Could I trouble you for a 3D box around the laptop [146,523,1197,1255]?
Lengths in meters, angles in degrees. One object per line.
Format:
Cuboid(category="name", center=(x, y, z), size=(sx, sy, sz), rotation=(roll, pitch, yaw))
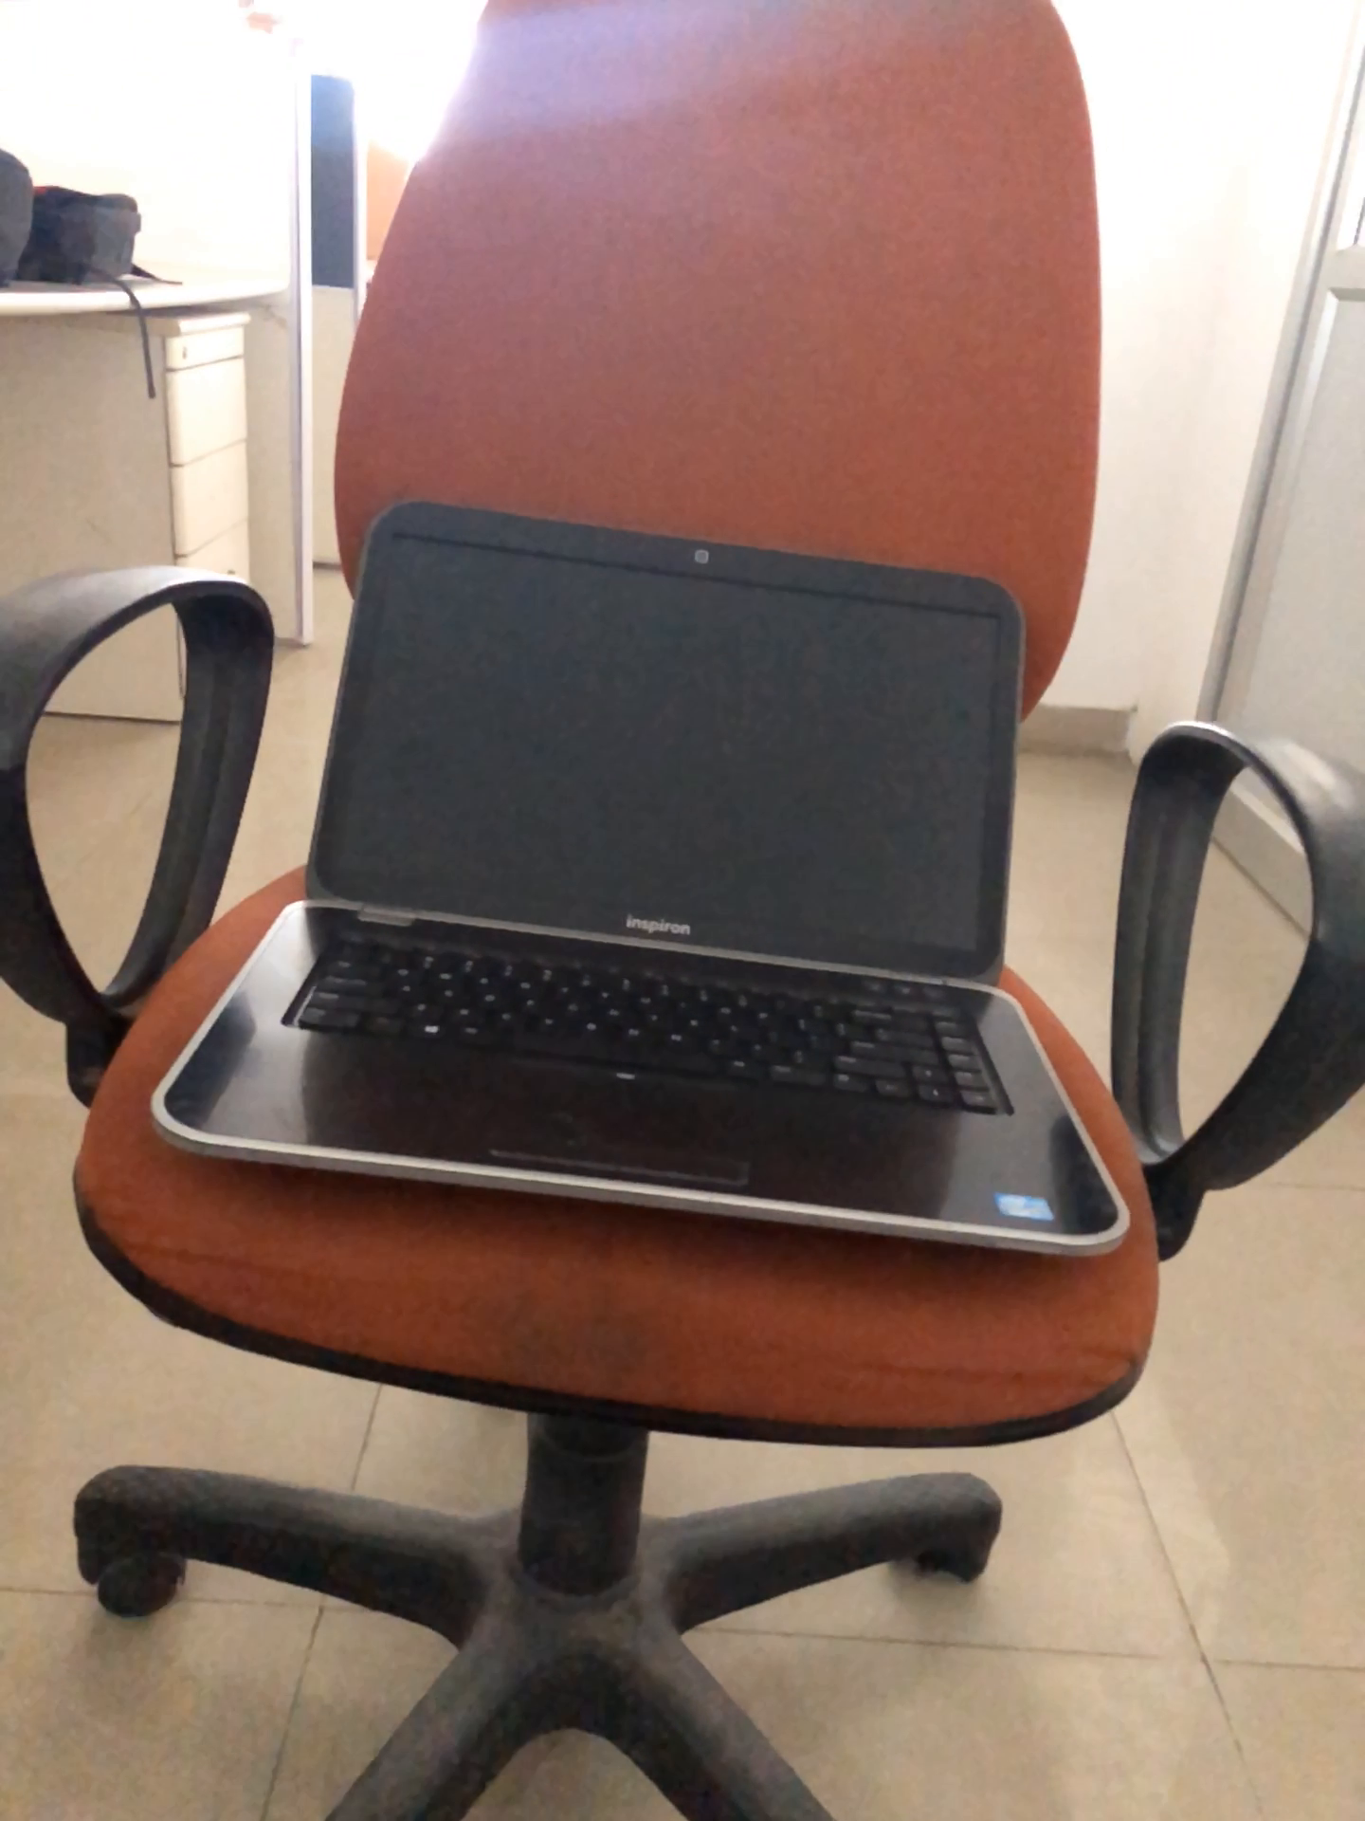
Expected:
Cuboid(category="laptop", center=(-0.009, -0.042, 0.692), size=(0.352, 0.173, 0.352), rotation=(6, 24, 0))
